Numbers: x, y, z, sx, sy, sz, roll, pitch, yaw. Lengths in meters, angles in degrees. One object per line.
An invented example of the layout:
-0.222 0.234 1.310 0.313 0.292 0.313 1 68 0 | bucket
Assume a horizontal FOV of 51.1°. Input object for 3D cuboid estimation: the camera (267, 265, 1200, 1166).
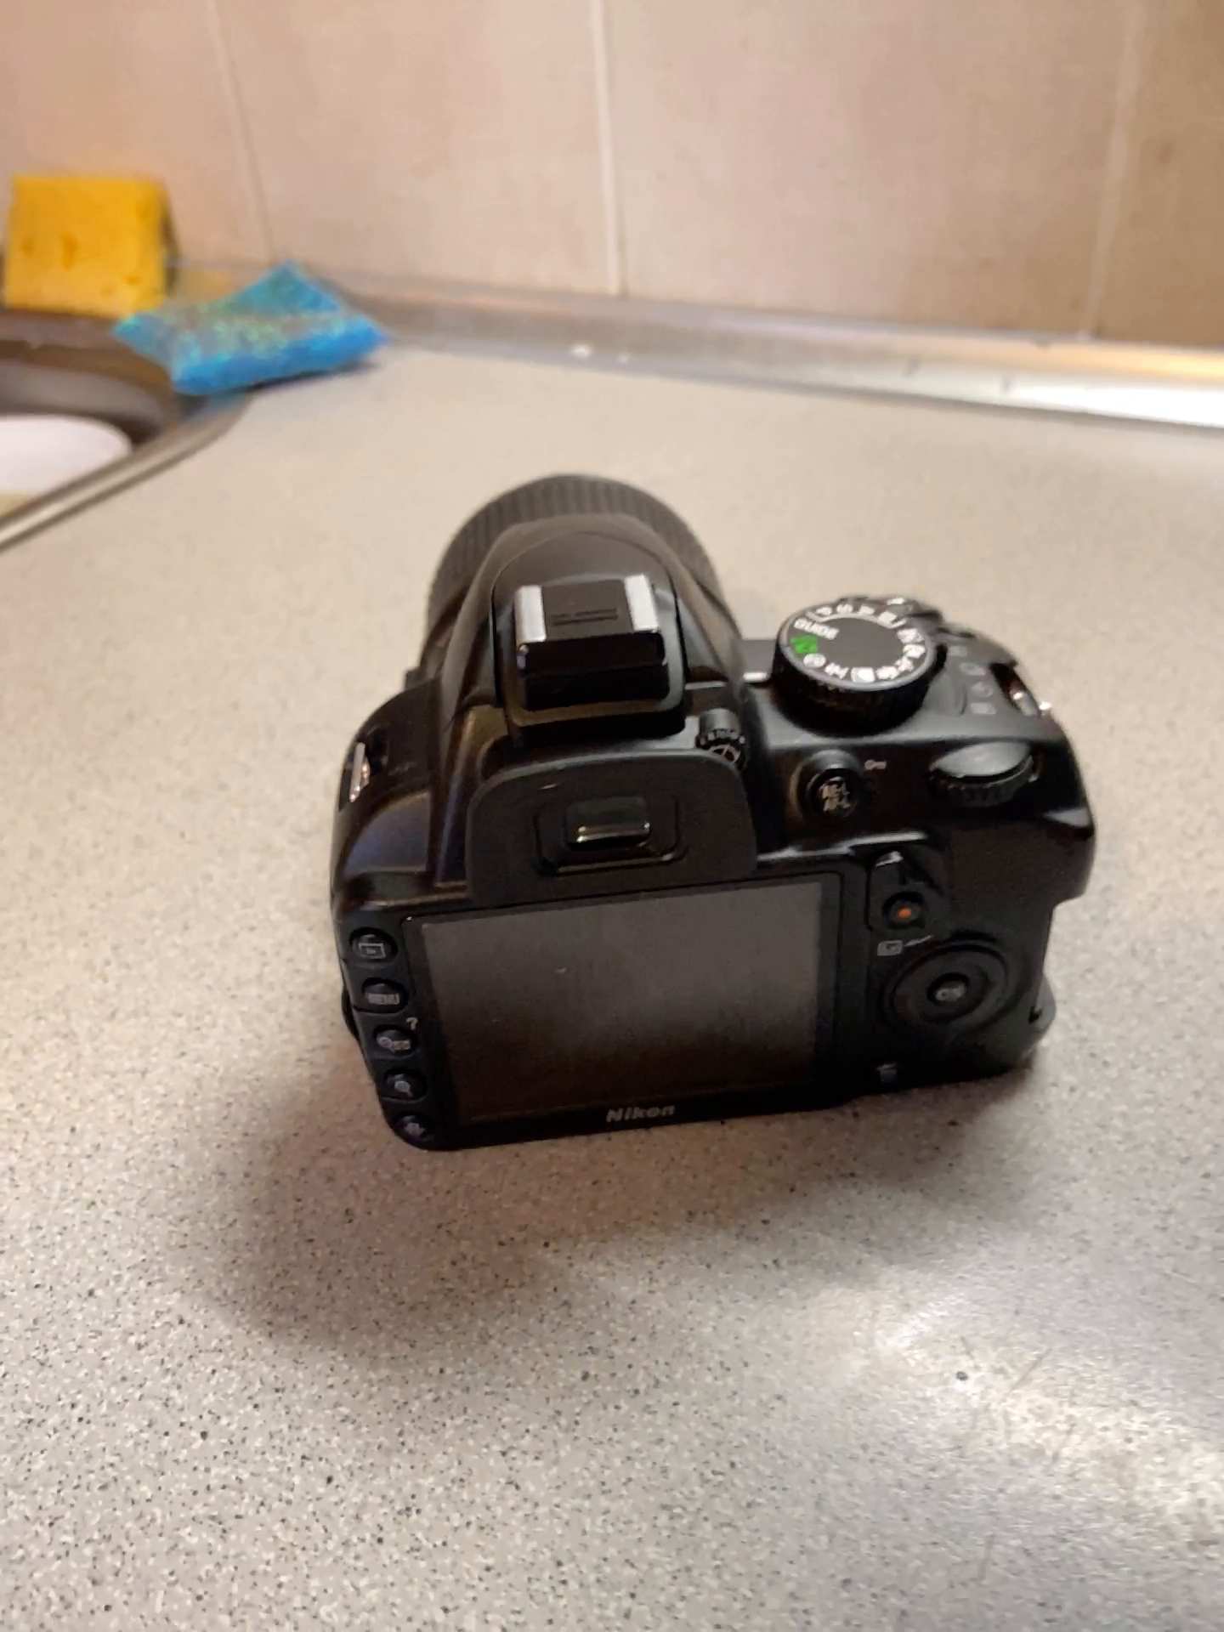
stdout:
0.012 -0.037 0.264 0.121 0.091 0.178 -6 37 -1 | camera
